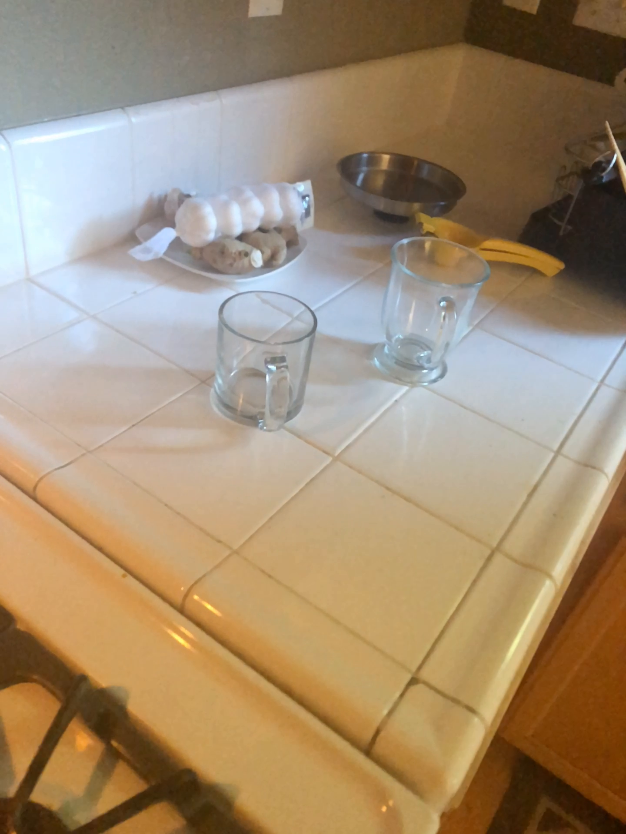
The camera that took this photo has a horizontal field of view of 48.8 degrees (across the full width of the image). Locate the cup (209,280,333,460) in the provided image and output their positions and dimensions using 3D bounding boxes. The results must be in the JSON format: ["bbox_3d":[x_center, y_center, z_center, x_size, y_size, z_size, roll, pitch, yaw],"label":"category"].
[{"bbox_3d":[-0.039,-0.043,0.605,0.090,0.089,0.131,5,40,-8],"label":"cup"}]

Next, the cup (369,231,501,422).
[{"bbox_3d":[0.114,-0.090,0.673,0.090,0.119,0.131,11,39,0],"label":"cup"}]
